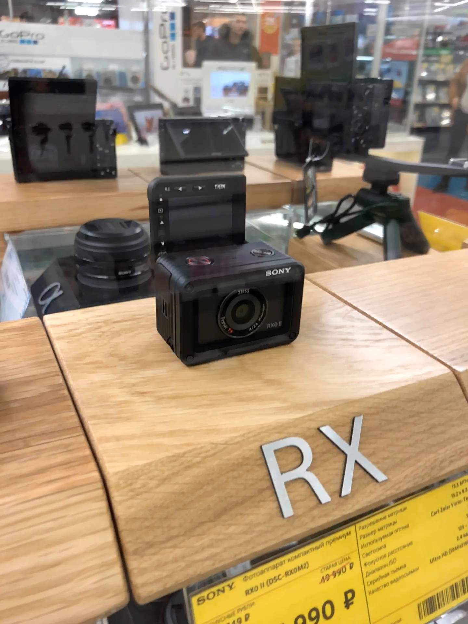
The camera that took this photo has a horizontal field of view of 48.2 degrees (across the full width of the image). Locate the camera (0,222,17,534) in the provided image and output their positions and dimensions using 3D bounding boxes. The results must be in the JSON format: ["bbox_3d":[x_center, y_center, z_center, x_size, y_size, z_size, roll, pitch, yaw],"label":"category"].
[{"bbox_3d":[-0.134,0.014,0.169,0.105,0.067,0.041,-11,28,-25],"label":"camera"}]

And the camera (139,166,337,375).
[{"bbox_3d":[-0.001,-0.021,0.220,0.062,0.067,0.050,-11,28,-25],"label":"camera"}]
